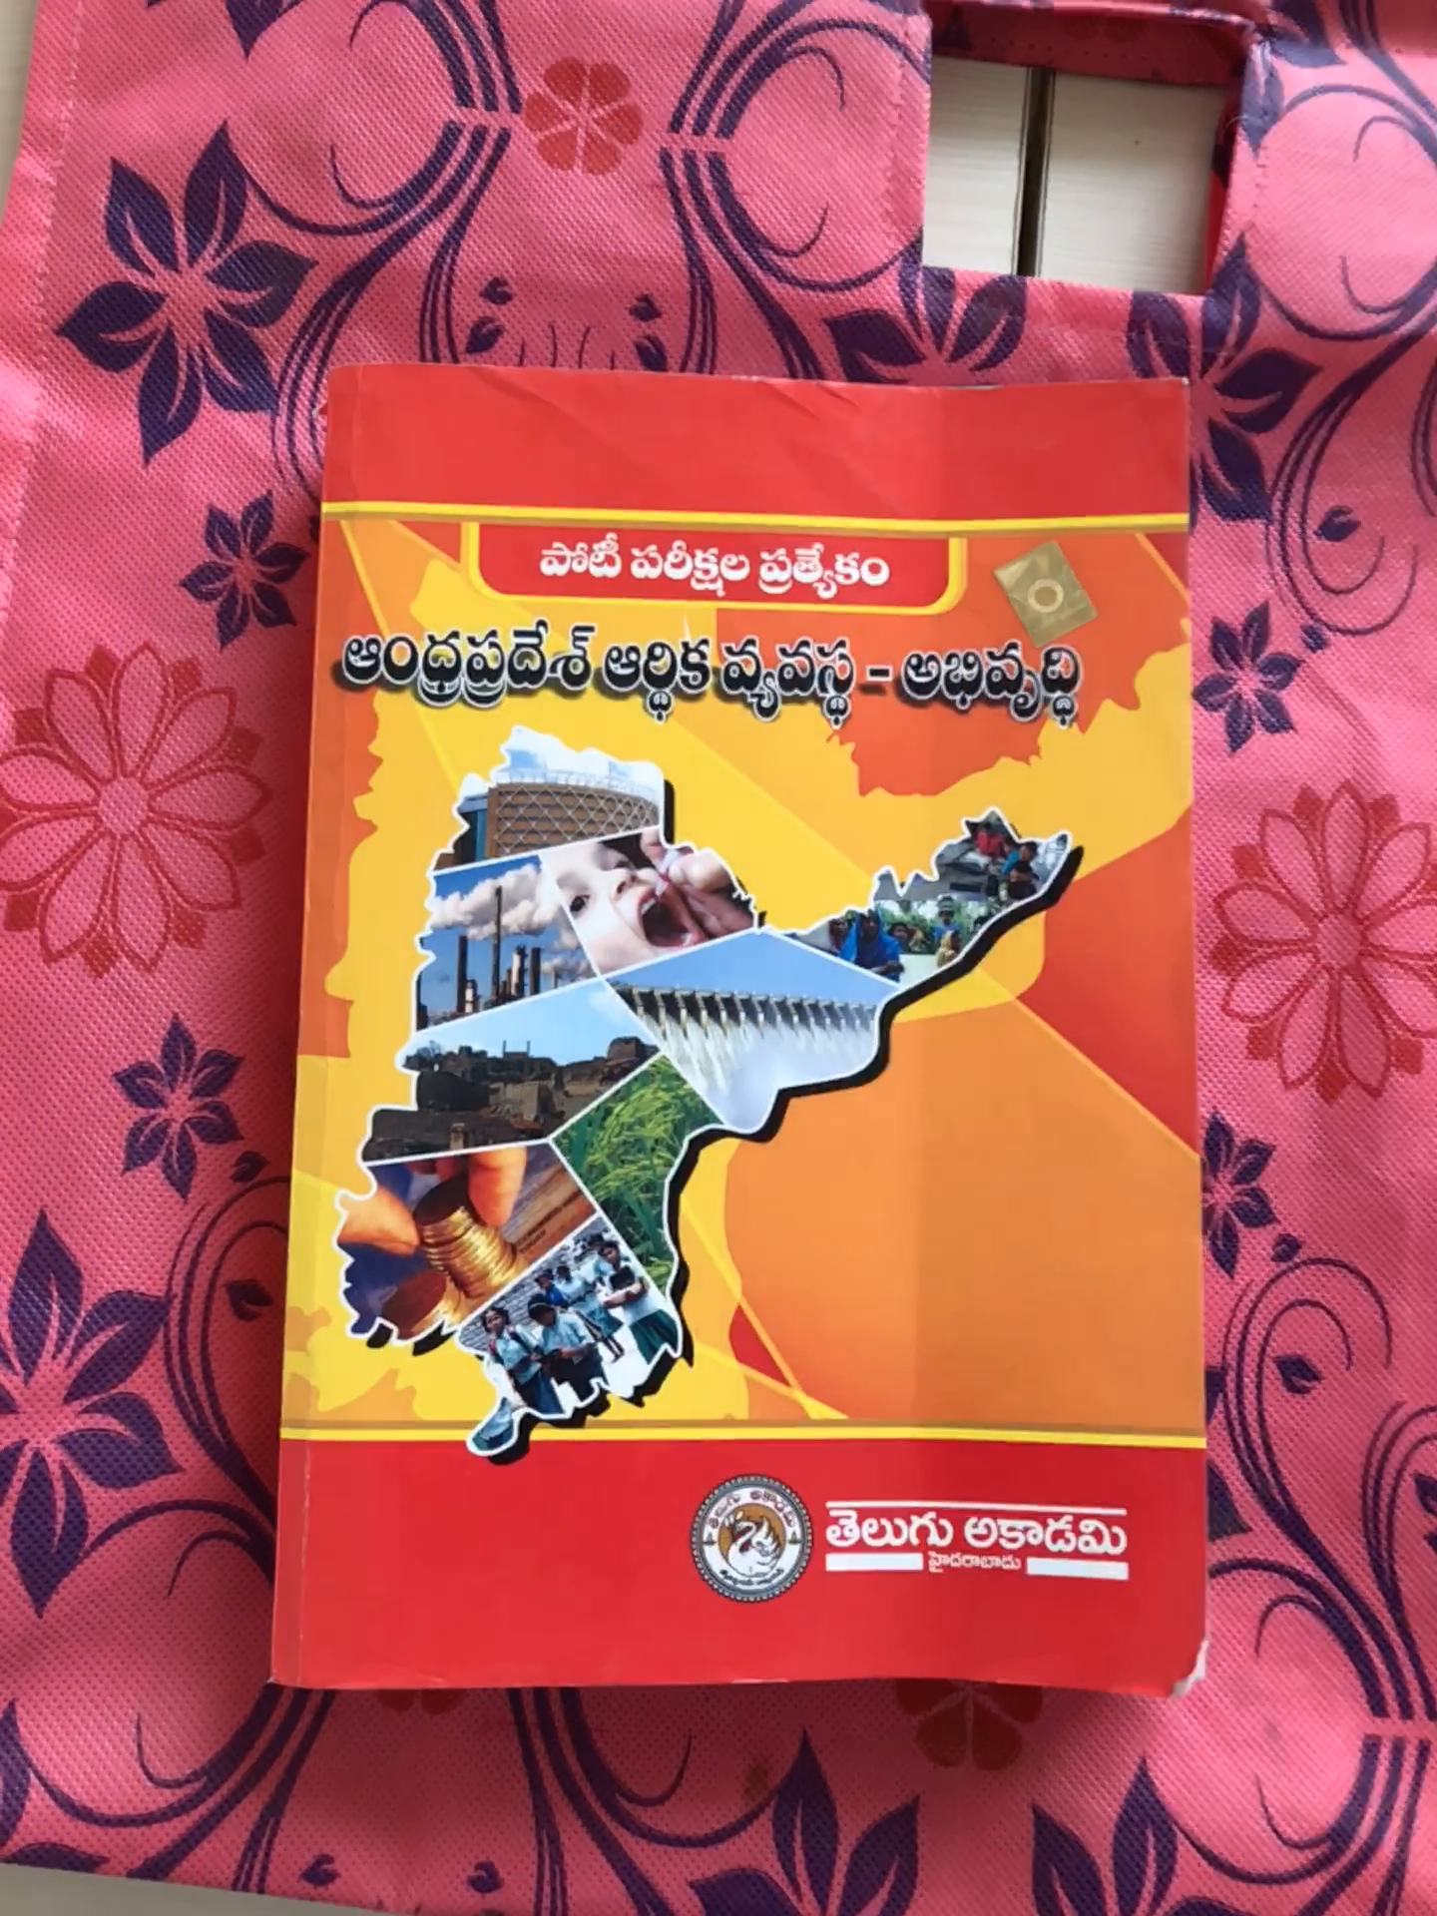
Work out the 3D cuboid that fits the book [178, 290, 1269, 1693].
[{"bbox_3d":[0.004,0.007,0.330,0.200,0.060,0.260,2,87,-3],"label":"book"}]
